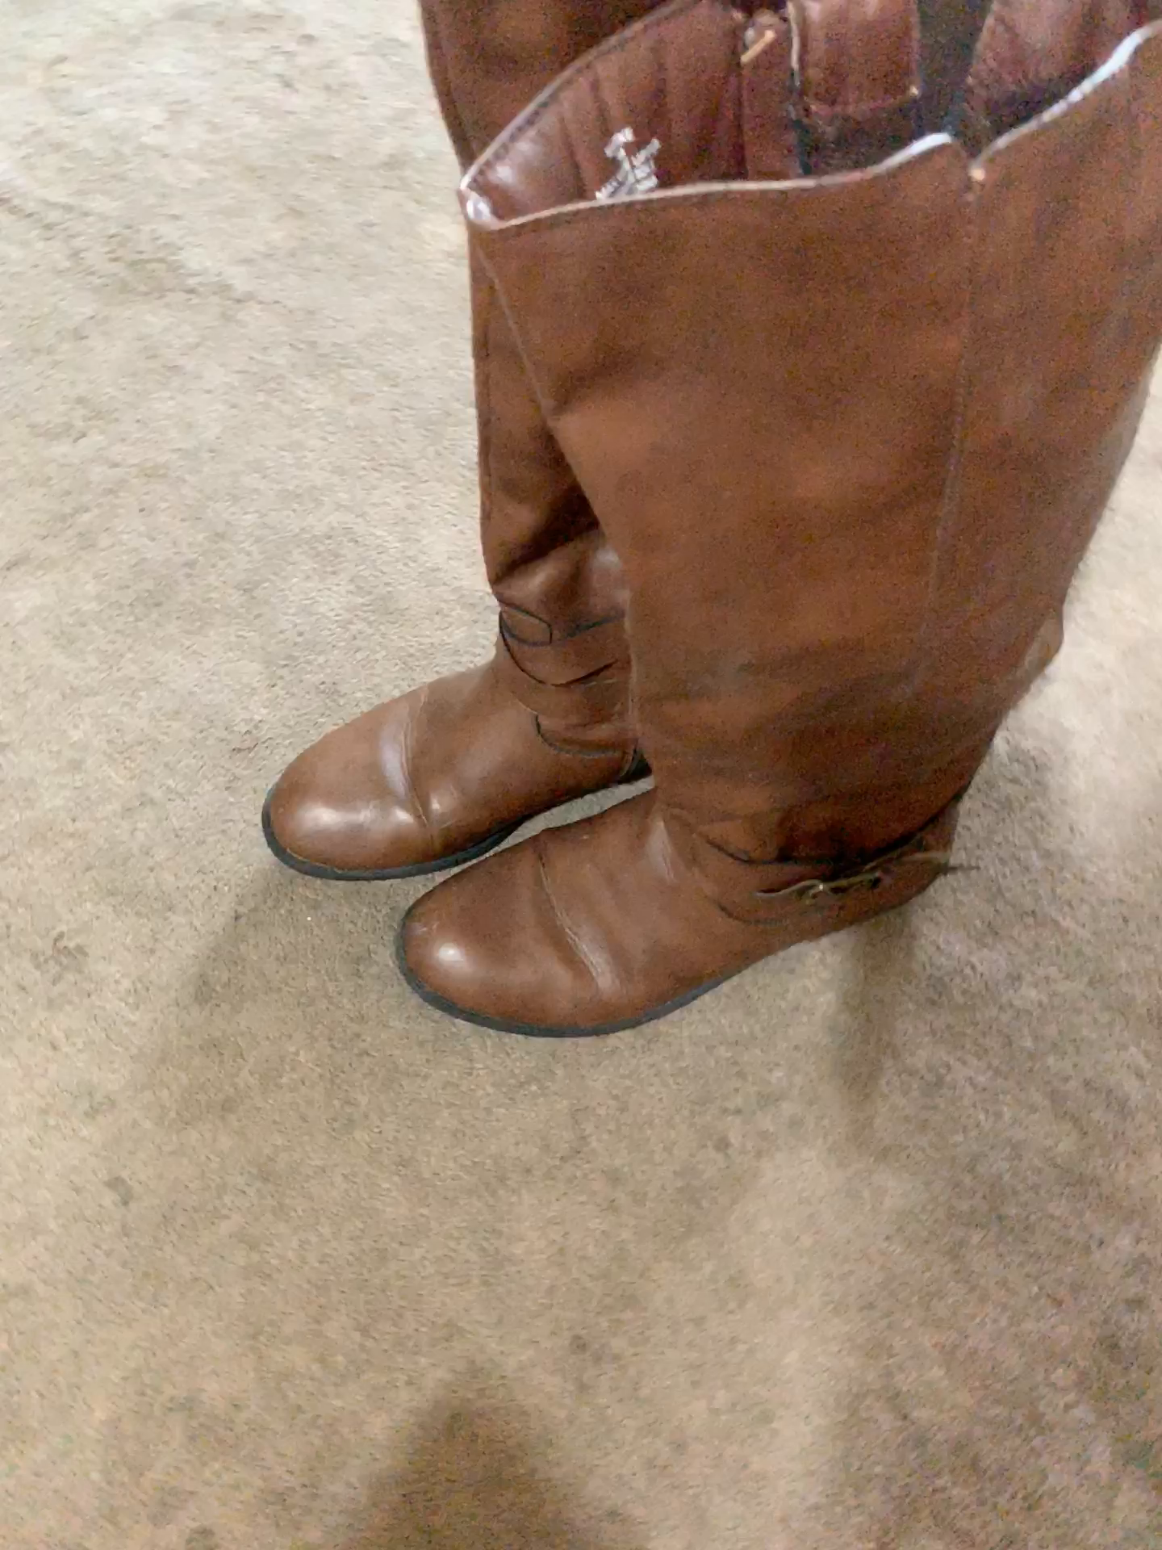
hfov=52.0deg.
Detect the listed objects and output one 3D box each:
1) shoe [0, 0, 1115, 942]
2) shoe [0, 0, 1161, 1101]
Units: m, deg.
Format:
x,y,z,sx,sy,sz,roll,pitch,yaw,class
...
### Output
x,y,z,sx,sy,sz,roll,pitch,yaw,class
-0.032,-0.092,0.396,0.260,0.368,0.111,-19,65,-5,shoe
0.041,-0.022,0.380,0.270,0.398,0.121,-13,65,-2,shoe
